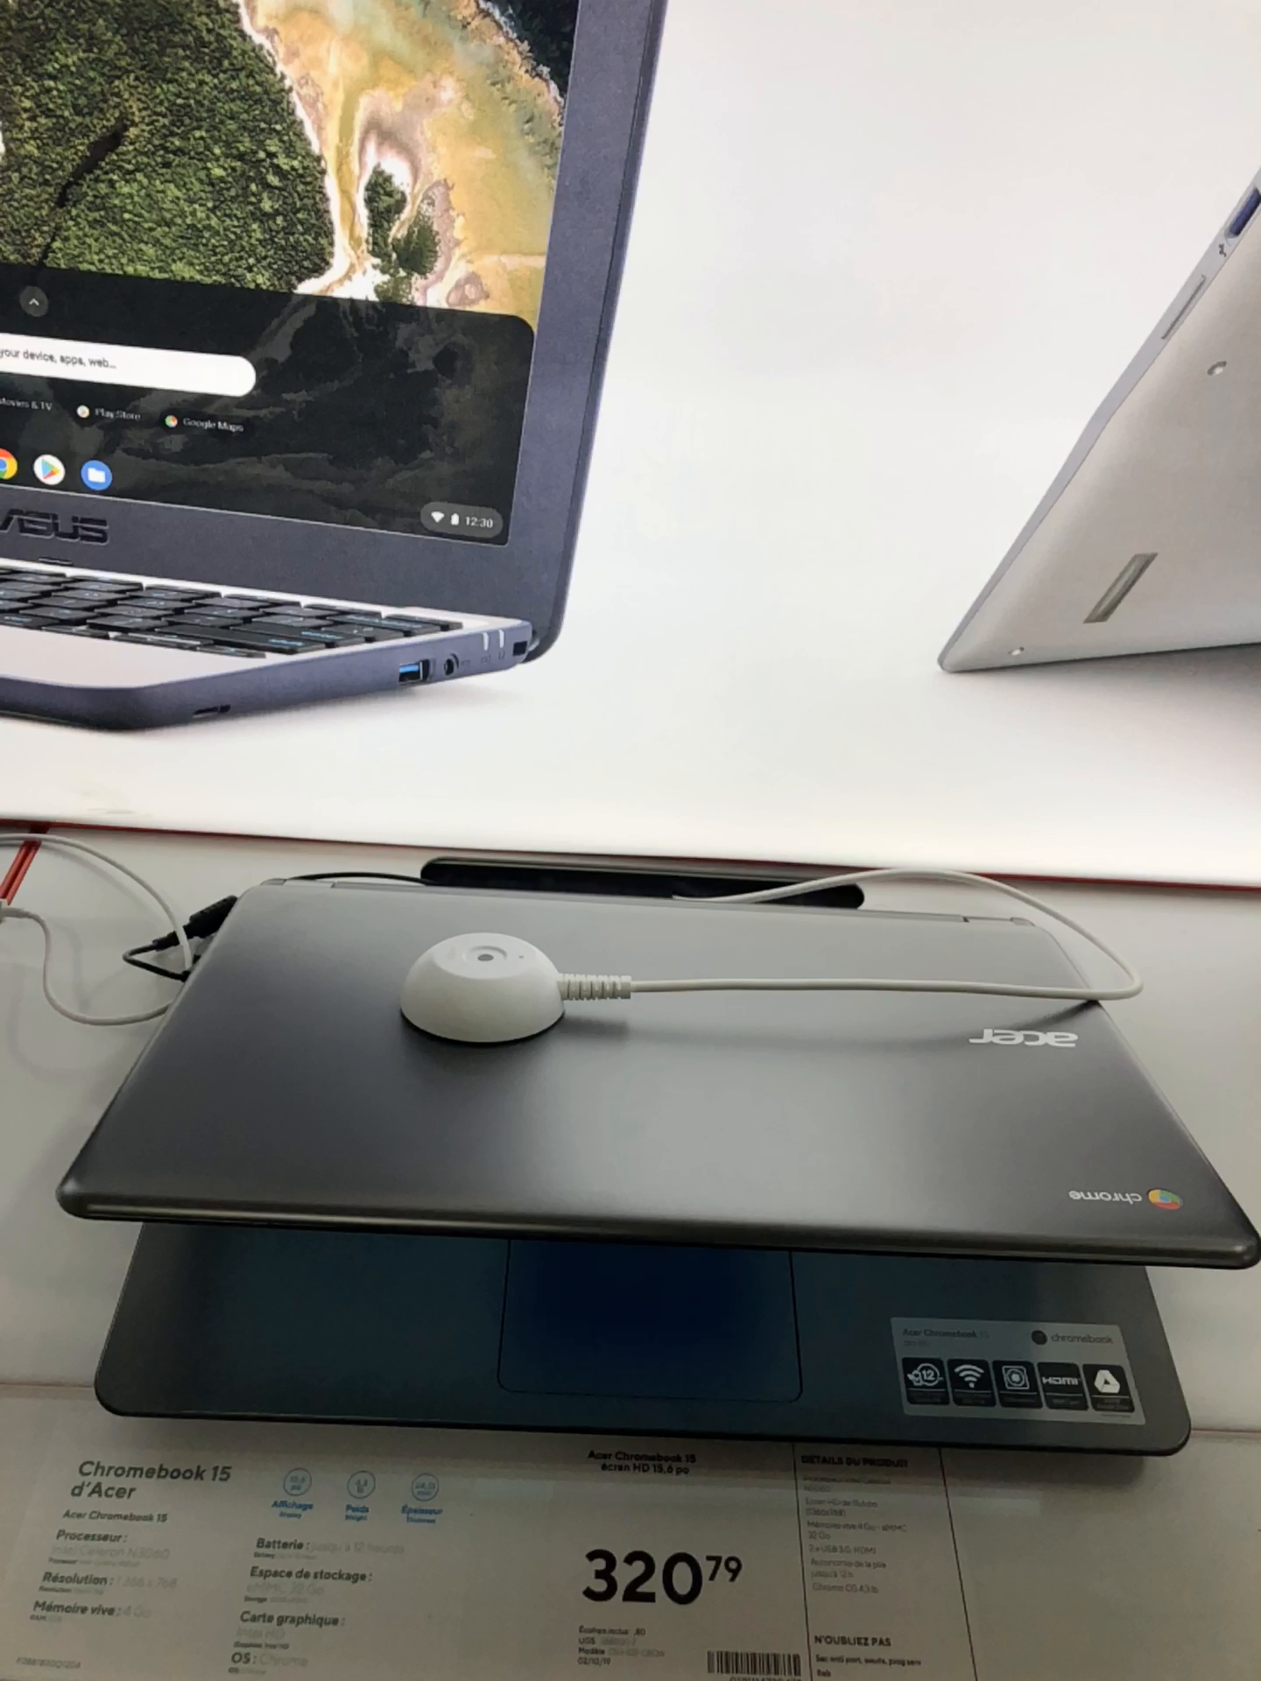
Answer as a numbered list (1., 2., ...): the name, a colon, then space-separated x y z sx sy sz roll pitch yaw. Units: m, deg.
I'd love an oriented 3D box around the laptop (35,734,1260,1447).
1. laptop: 0.007 0.079 0.532 0.369 0.088 0.249 3 40 -1
